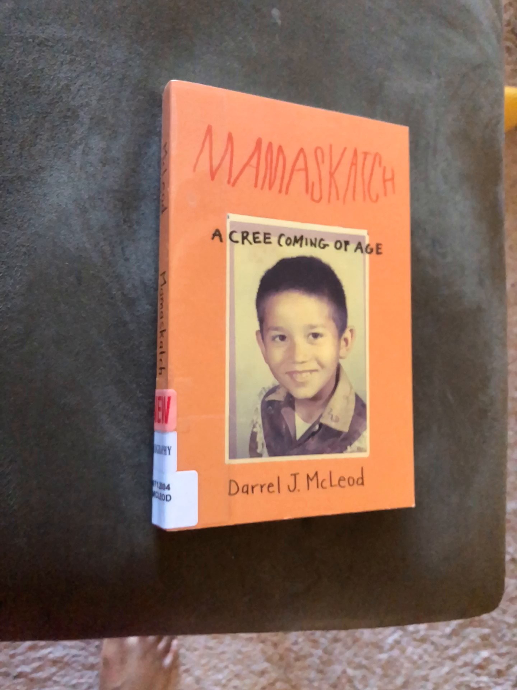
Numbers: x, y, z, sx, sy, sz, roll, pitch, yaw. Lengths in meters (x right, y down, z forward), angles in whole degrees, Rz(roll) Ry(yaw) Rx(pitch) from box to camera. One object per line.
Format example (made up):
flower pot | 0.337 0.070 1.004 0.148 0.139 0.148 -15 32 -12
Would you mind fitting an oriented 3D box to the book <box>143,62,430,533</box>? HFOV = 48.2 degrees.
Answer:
book | 0.018 -0.021 0.313 0.150 0.040 0.218 1 87 -22
